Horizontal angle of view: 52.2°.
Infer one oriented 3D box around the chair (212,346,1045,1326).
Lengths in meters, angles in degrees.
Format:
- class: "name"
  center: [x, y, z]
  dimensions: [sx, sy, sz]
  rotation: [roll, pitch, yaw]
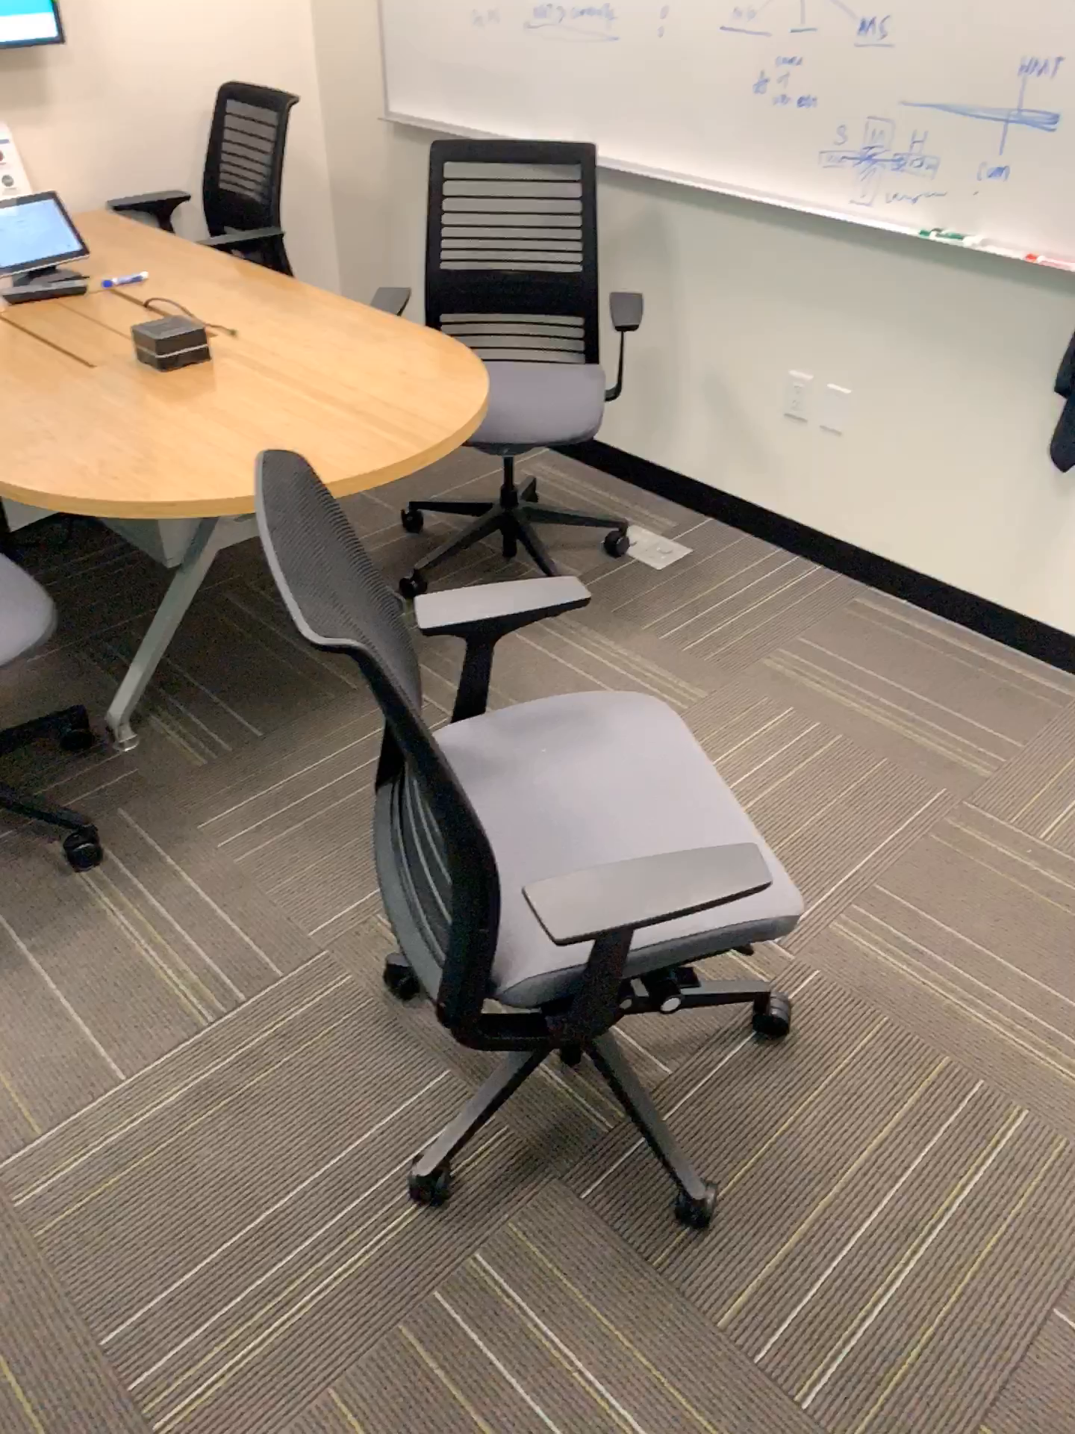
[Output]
- class: "chair"
  center: [0.028, 0.148, 1.447]
  dimensions: [0.690, 0.994, 0.654]
  rotation: [-10, 39, -12]
